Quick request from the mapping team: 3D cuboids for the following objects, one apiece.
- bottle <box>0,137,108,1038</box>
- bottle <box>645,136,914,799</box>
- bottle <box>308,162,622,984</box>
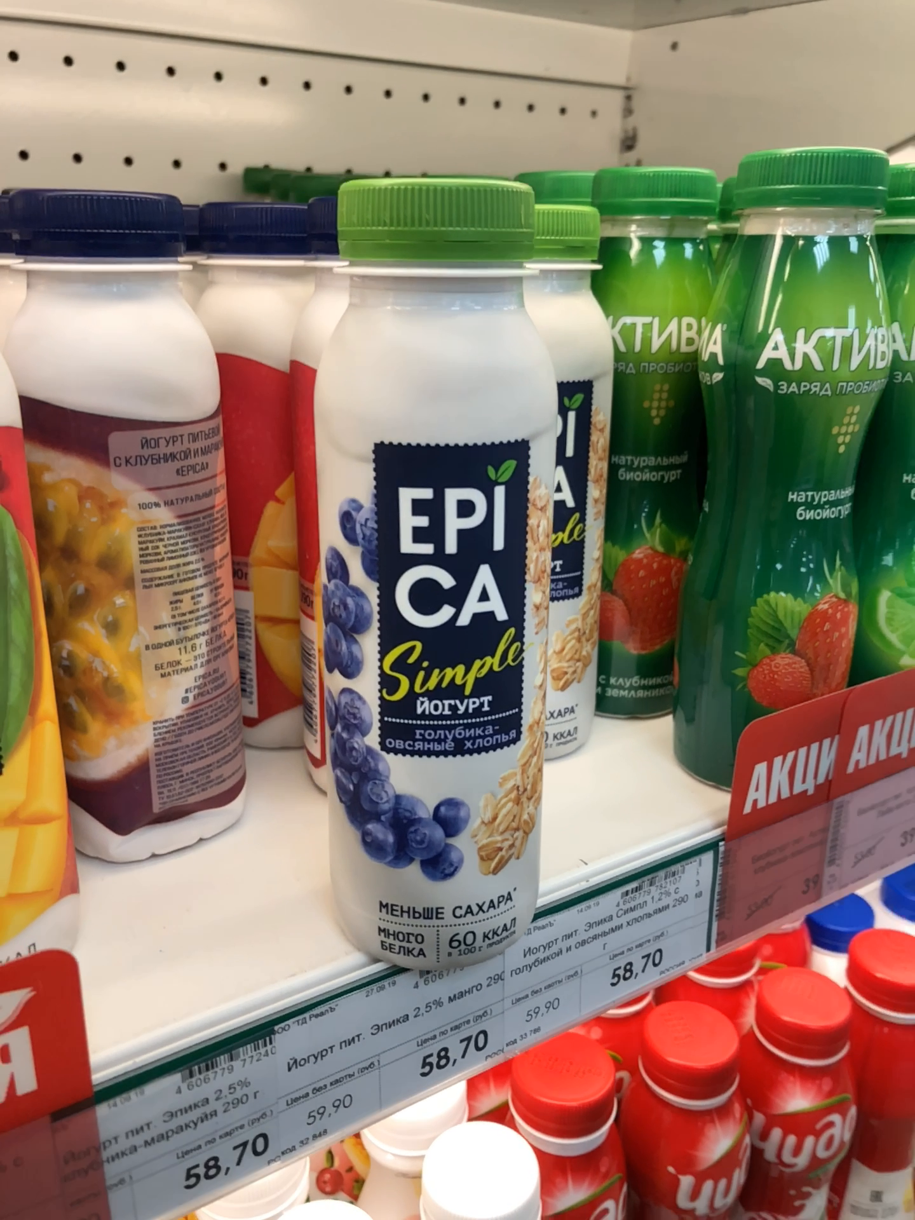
[{"bbox_3d":[-0.111,-0.001,0.209,0.053,0.170,0.049,1,20,0],"label":"bottle"},{"bbox_3d":[0.098,-0.039,0.304,0.053,0.182,0.053,1,20,0],"label":"bottle"},{"bbox_3d":[-0.003,-0.006,0.229,0.053,0.170,0.052,1,20,0],"label":"bottle"}]
